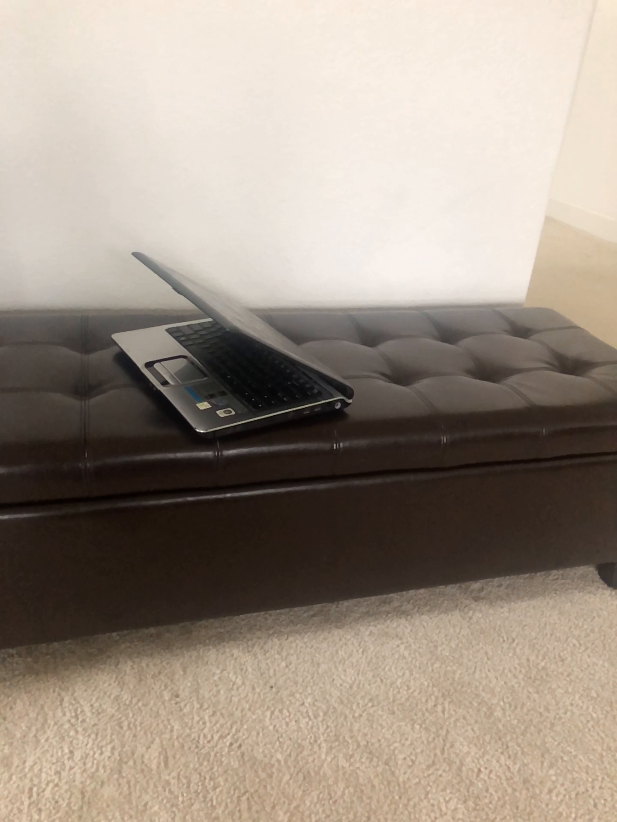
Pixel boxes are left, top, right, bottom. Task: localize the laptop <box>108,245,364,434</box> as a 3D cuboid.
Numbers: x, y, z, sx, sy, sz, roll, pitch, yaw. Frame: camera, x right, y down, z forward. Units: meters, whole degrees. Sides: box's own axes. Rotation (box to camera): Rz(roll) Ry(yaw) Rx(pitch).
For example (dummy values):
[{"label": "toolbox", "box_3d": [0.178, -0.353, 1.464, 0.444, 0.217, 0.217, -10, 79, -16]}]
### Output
[{"label": "laptop", "box_3d": [-0.116, -0.123, 0.958, 0.230, 0.122, 0.334, -13, 33, -30]}]
